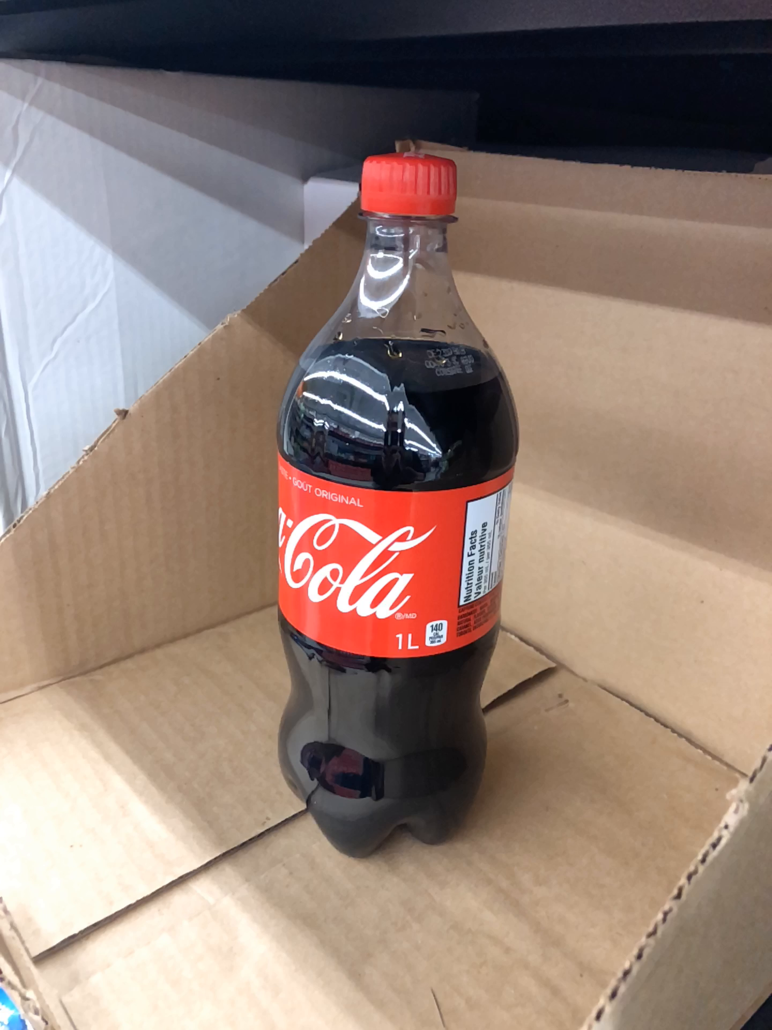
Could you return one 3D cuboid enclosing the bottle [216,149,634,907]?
[{"bbox_3d":[0.005,0.002,0.318,0.090,0.248,0.101,-13,29,-28],"label":"bottle"}]
